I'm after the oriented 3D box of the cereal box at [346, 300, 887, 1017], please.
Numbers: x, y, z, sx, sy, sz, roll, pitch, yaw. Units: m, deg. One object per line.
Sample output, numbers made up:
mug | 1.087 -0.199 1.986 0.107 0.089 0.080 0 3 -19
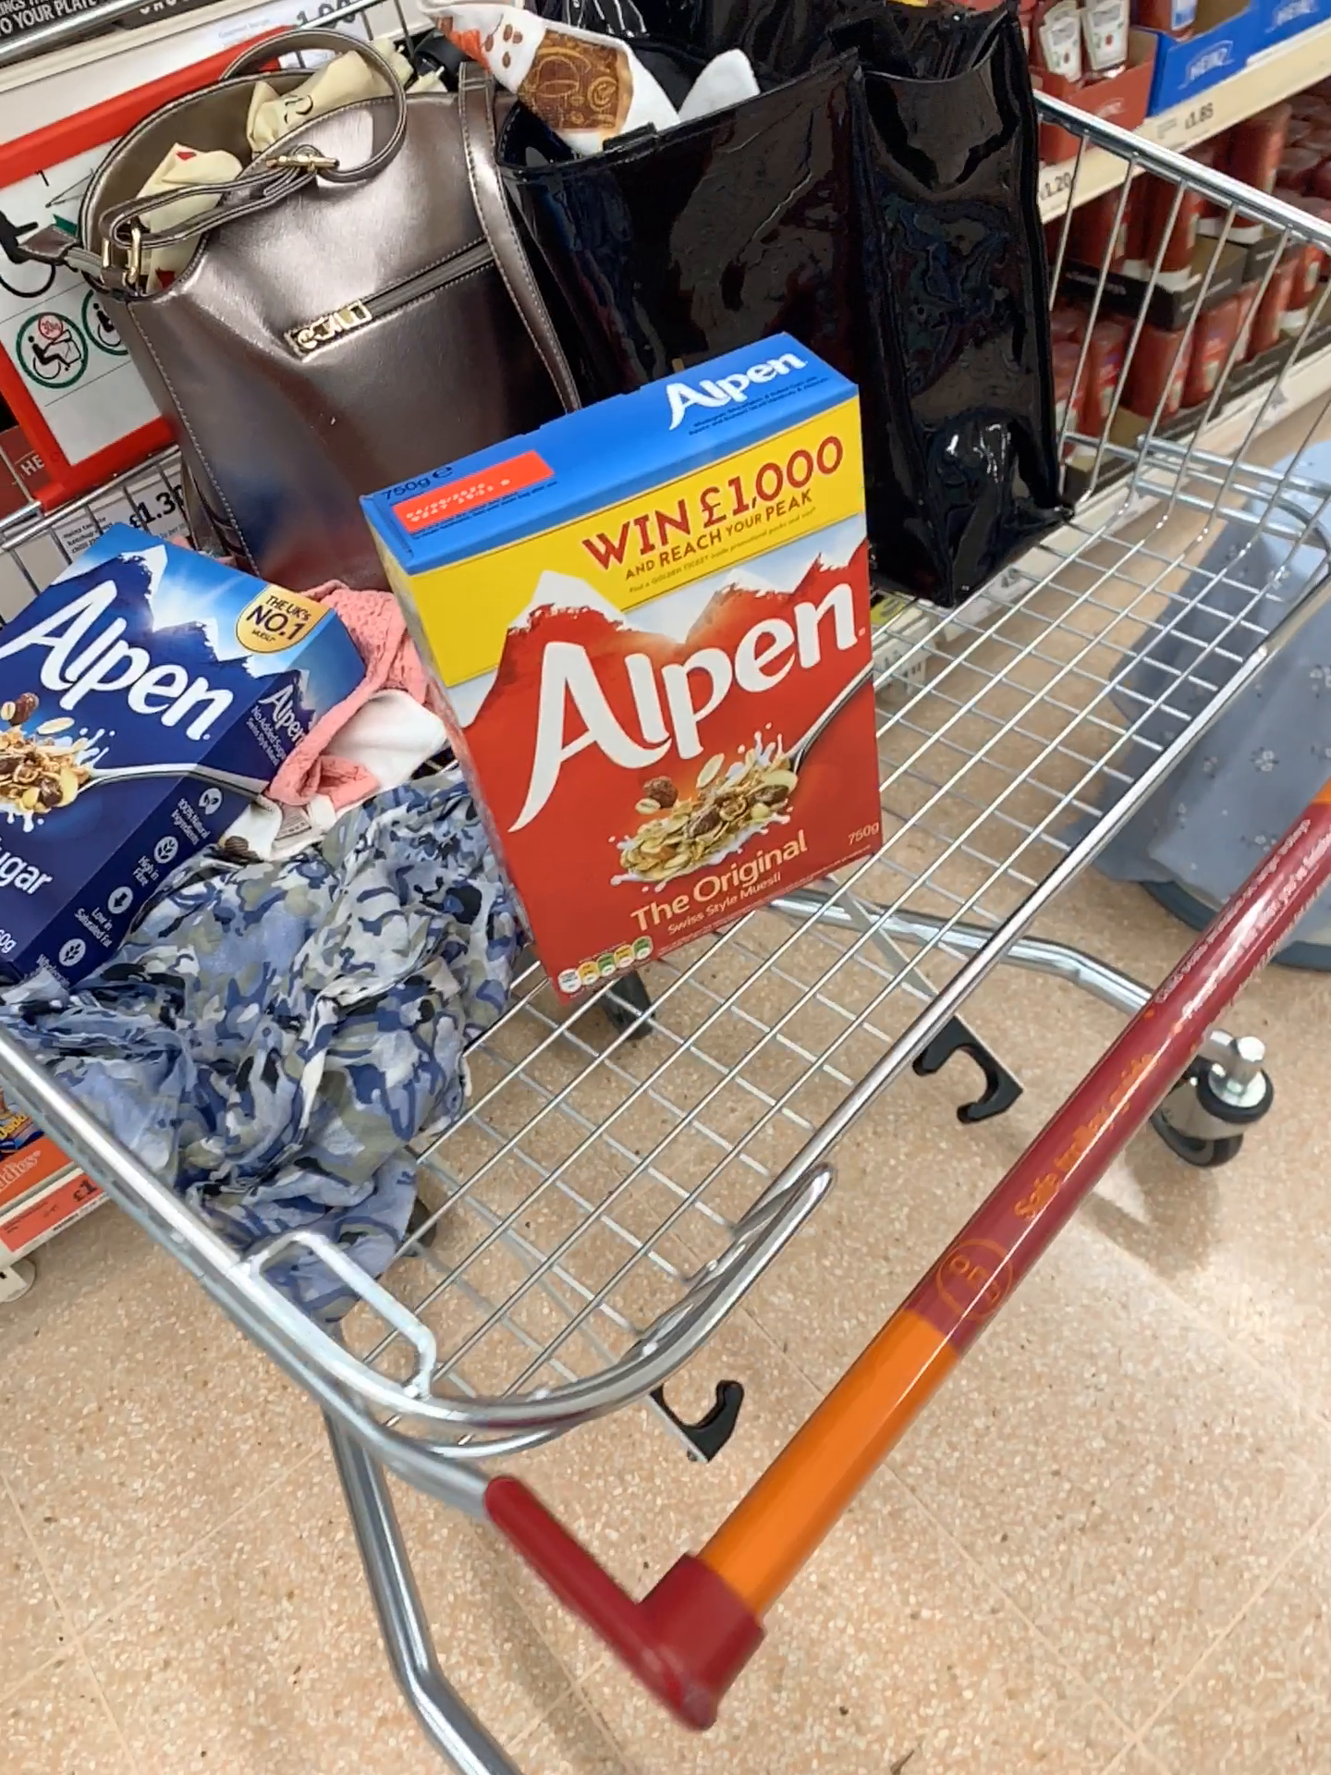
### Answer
cereal box | -0.003 -0.081 0.561 0.180 0.248 0.060 -25 49 -14
